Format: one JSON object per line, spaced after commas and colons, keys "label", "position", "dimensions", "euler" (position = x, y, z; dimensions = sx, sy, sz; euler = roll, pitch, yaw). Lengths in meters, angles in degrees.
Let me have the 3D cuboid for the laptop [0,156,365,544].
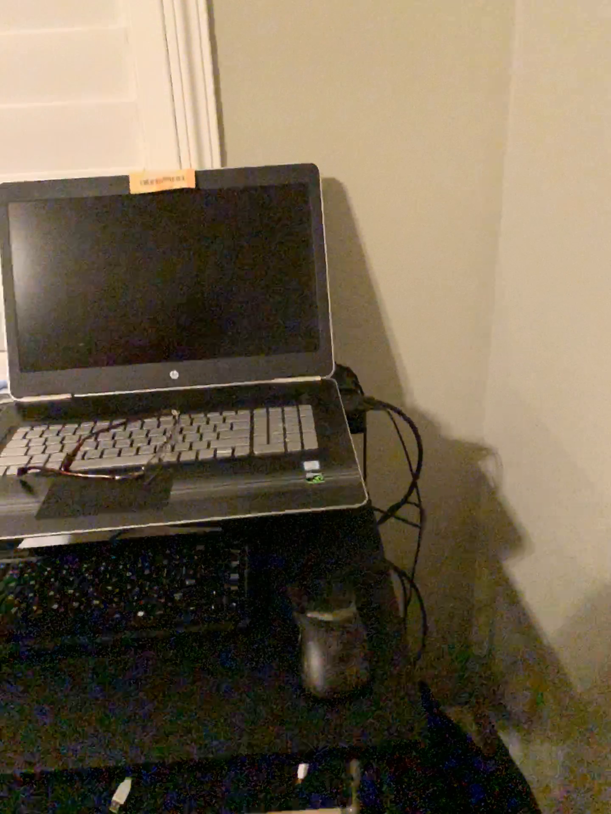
{"label": "laptop", "position": [-0.180, -0.110, 0.721], "dimensions": [0.433, 0.263, 0.421], "euler": [-4, 26, -2]}
